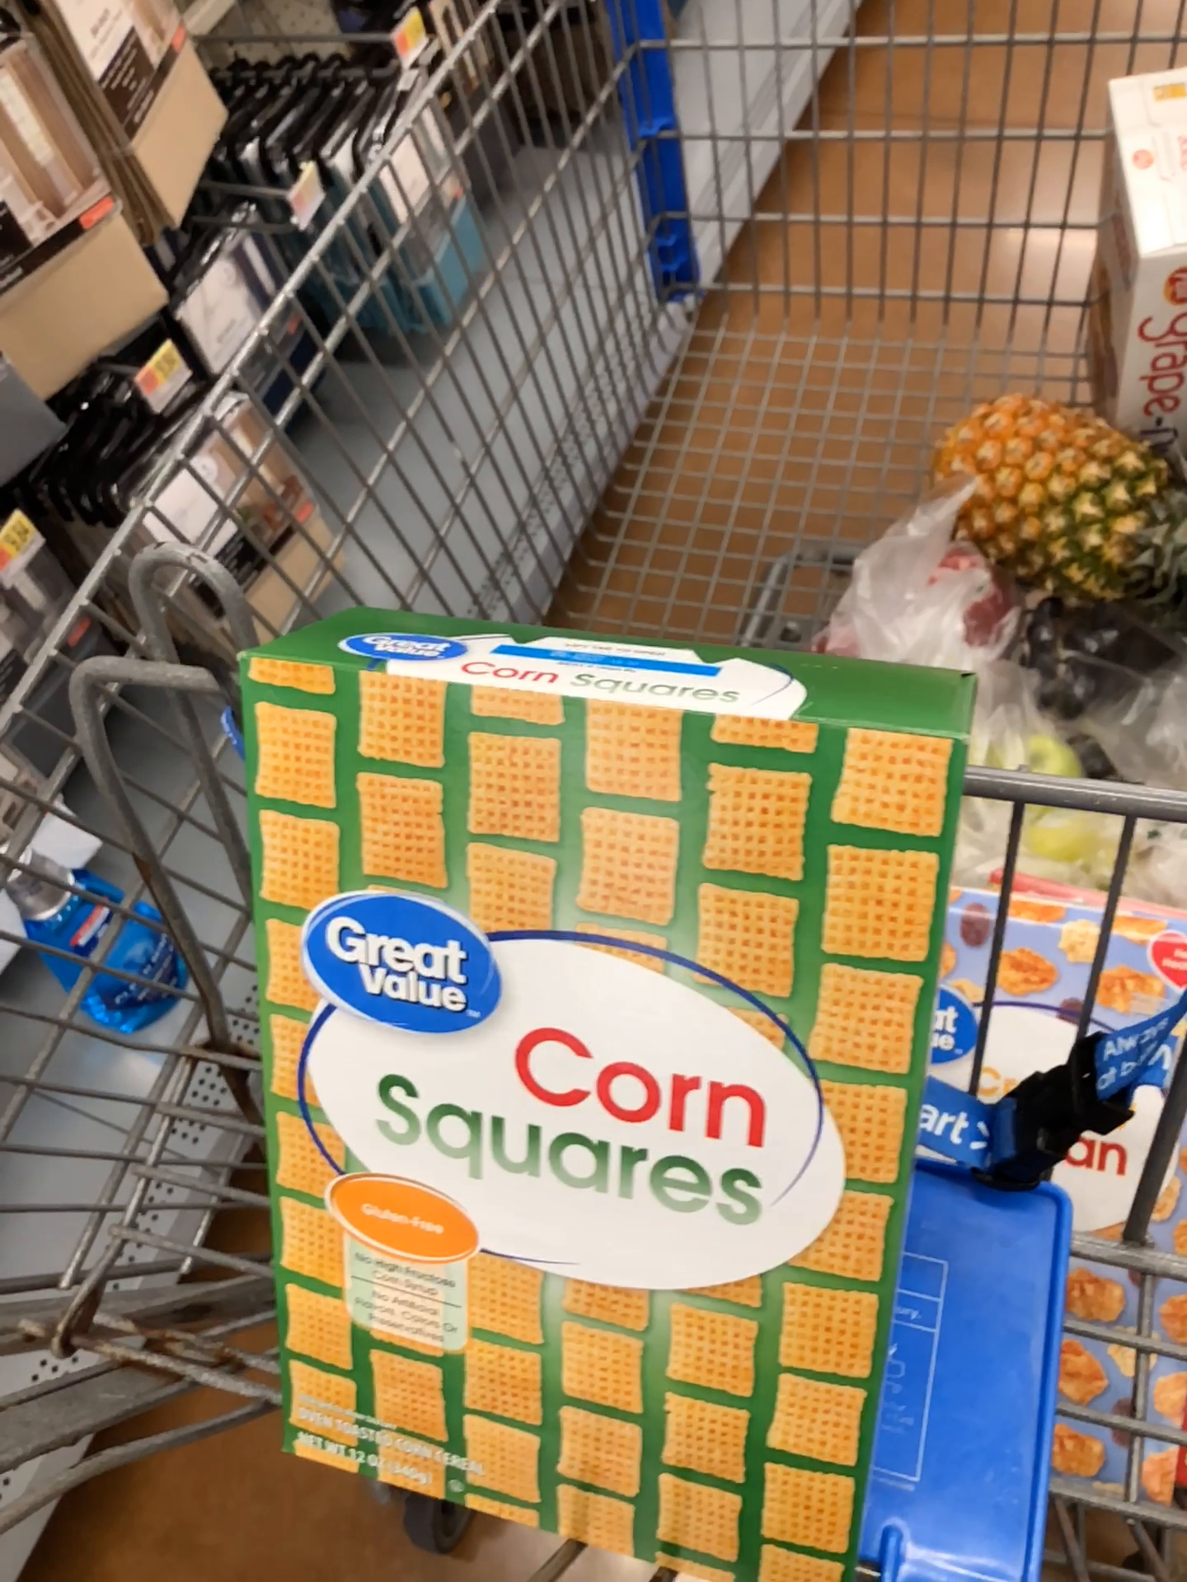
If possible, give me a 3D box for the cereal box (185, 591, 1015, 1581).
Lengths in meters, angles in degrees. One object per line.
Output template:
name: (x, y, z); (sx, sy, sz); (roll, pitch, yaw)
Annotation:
cereal box: (-0.001, 0.095, 0.381); (0.200, 0.280, 0.070); (7, 20, 16)
